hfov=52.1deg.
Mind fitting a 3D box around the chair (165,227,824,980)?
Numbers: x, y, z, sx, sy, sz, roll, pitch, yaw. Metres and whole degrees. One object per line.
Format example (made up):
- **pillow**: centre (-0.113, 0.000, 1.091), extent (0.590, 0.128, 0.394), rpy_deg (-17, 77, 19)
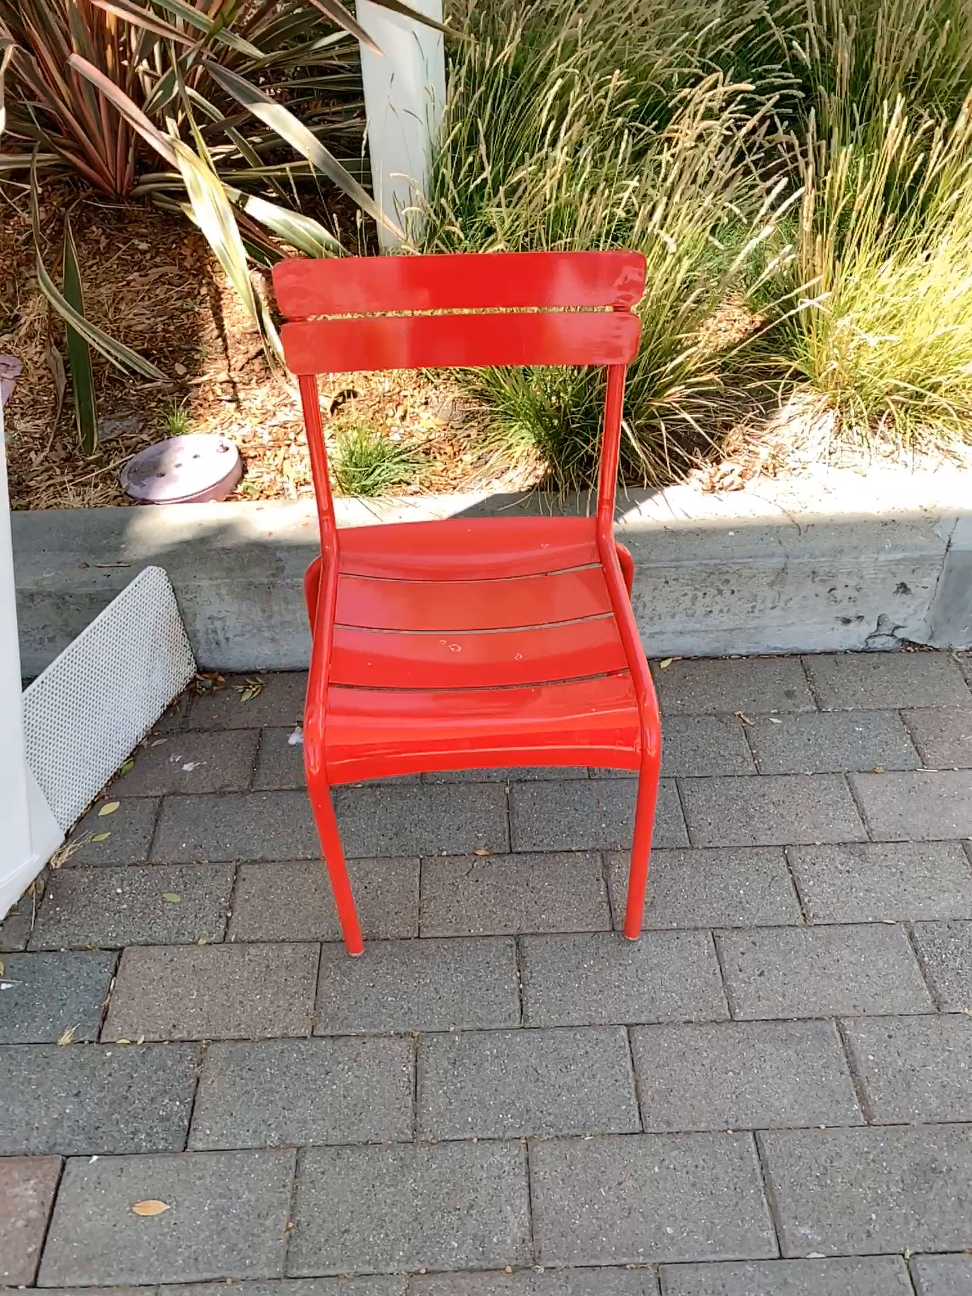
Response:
- **chair**: centre (0.001, -0.054, 1.370), extent (0.580, 0.785, 0.634), rpy_deg (-3, 42, -1)
